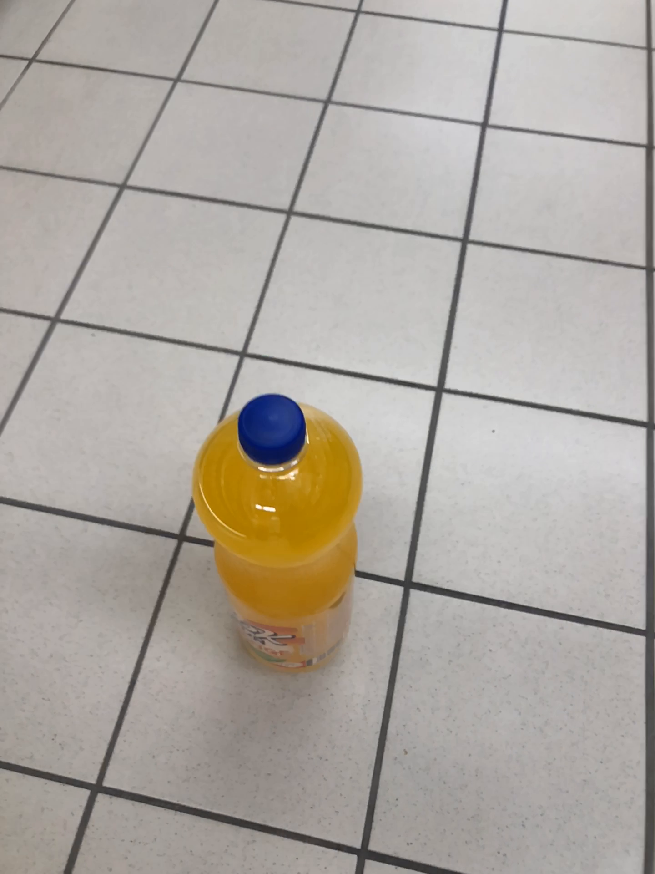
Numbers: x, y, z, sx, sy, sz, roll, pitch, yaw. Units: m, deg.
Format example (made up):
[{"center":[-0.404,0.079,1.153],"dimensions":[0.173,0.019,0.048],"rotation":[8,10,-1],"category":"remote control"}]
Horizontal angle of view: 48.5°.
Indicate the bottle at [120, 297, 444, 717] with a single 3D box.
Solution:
[{"center":[-0.022,0.070,0.449],"dimensions":[0.100,0.299,0.110],"rotation":[0,60,0],"category":"bottle"}]
